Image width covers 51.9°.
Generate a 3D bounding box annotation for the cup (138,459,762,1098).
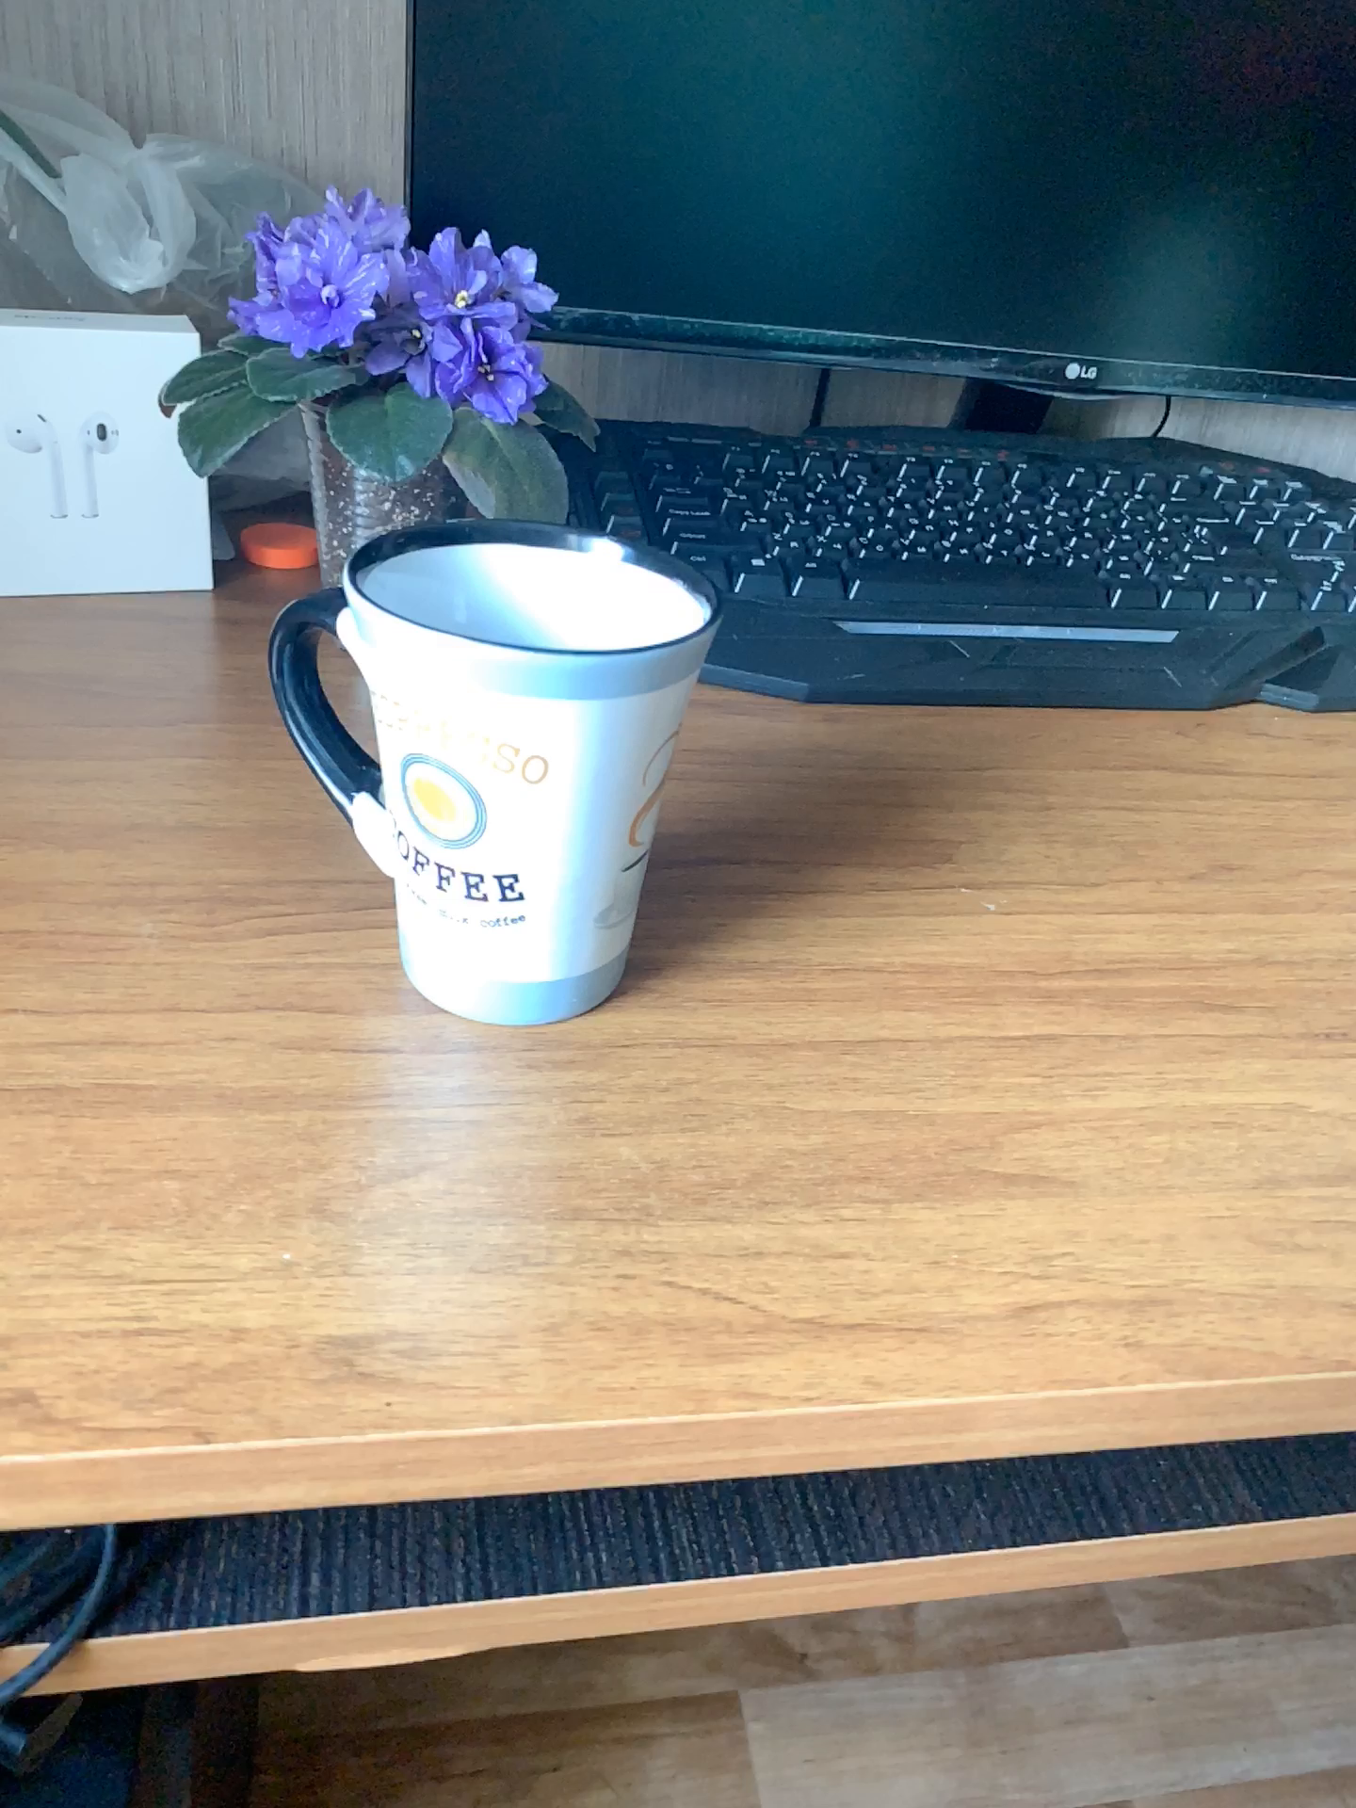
[{"bbox_3d":[-0.052,-0.034,0.317,0.110,0.100,0.070,22,33,25],"label":"cup"}]
